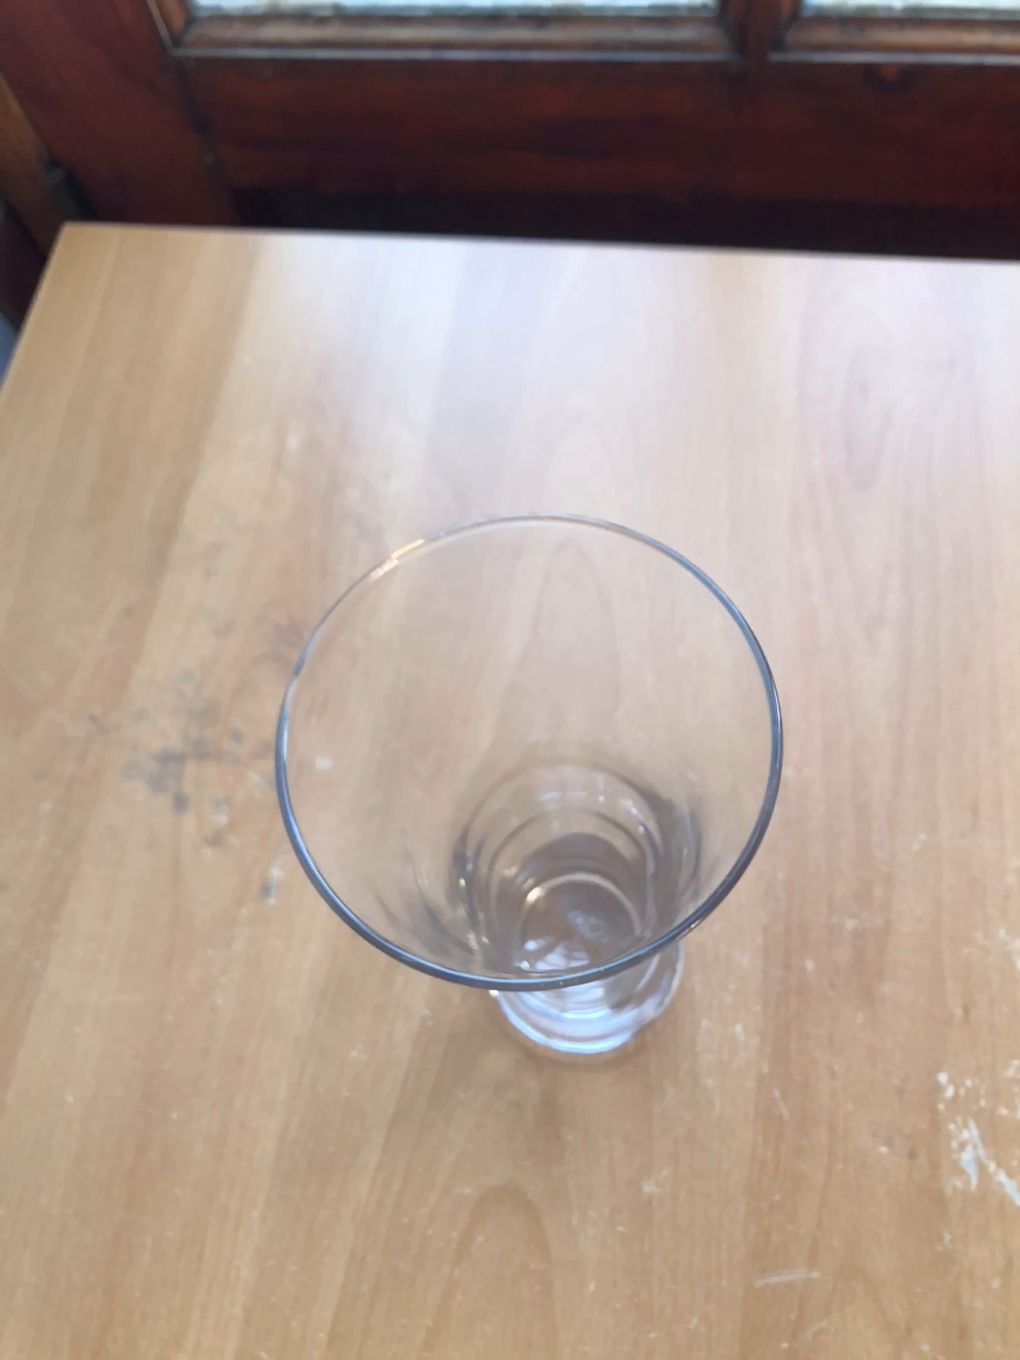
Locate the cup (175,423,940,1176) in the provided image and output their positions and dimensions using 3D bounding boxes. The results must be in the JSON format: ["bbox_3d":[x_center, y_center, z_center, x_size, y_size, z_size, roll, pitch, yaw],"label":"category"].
[{"bbox_3d":[0.012,0.043,0.245,0.076,0.169,0.082,-2,66,4],"label":"cup"}]
